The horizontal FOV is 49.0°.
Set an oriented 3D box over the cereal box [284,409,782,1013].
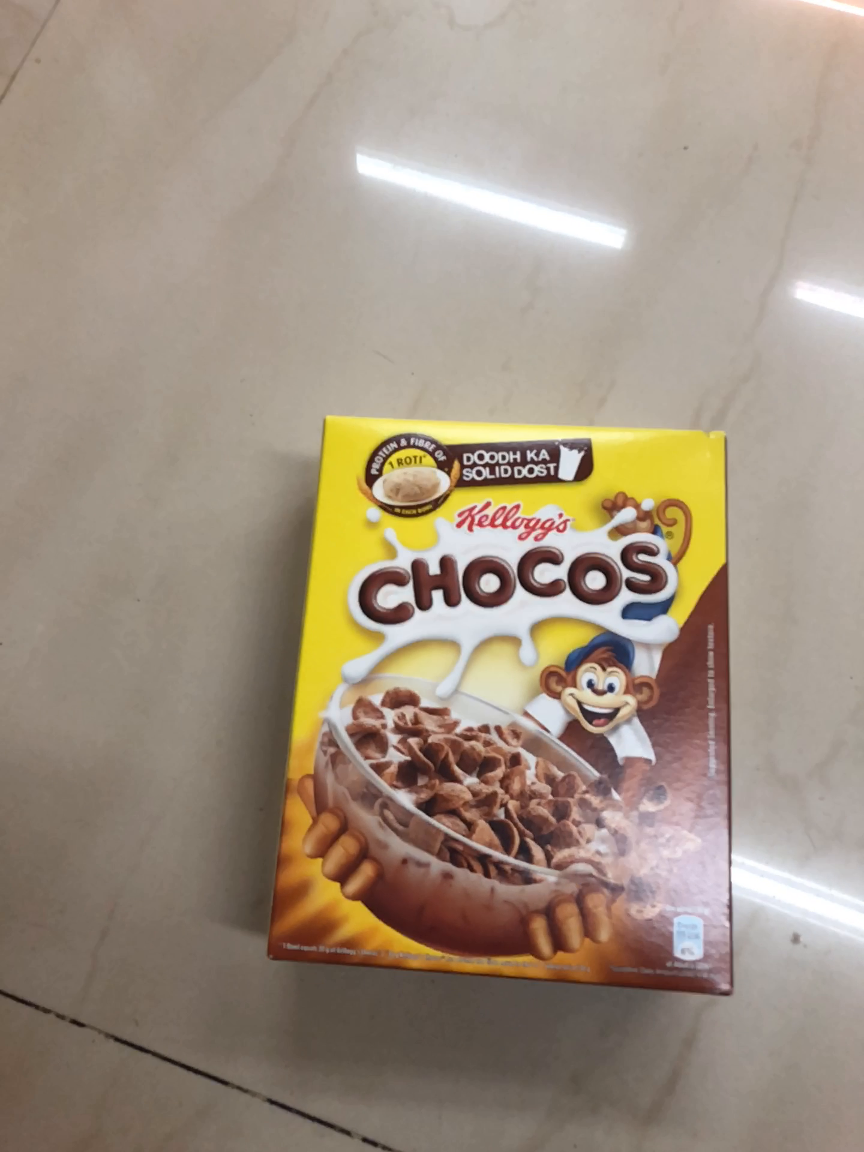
[{"bbox_3d":[0.035,0.039,0.309,0.140,0.050,0.170,4,78,3],"label":"cereal box"}]
